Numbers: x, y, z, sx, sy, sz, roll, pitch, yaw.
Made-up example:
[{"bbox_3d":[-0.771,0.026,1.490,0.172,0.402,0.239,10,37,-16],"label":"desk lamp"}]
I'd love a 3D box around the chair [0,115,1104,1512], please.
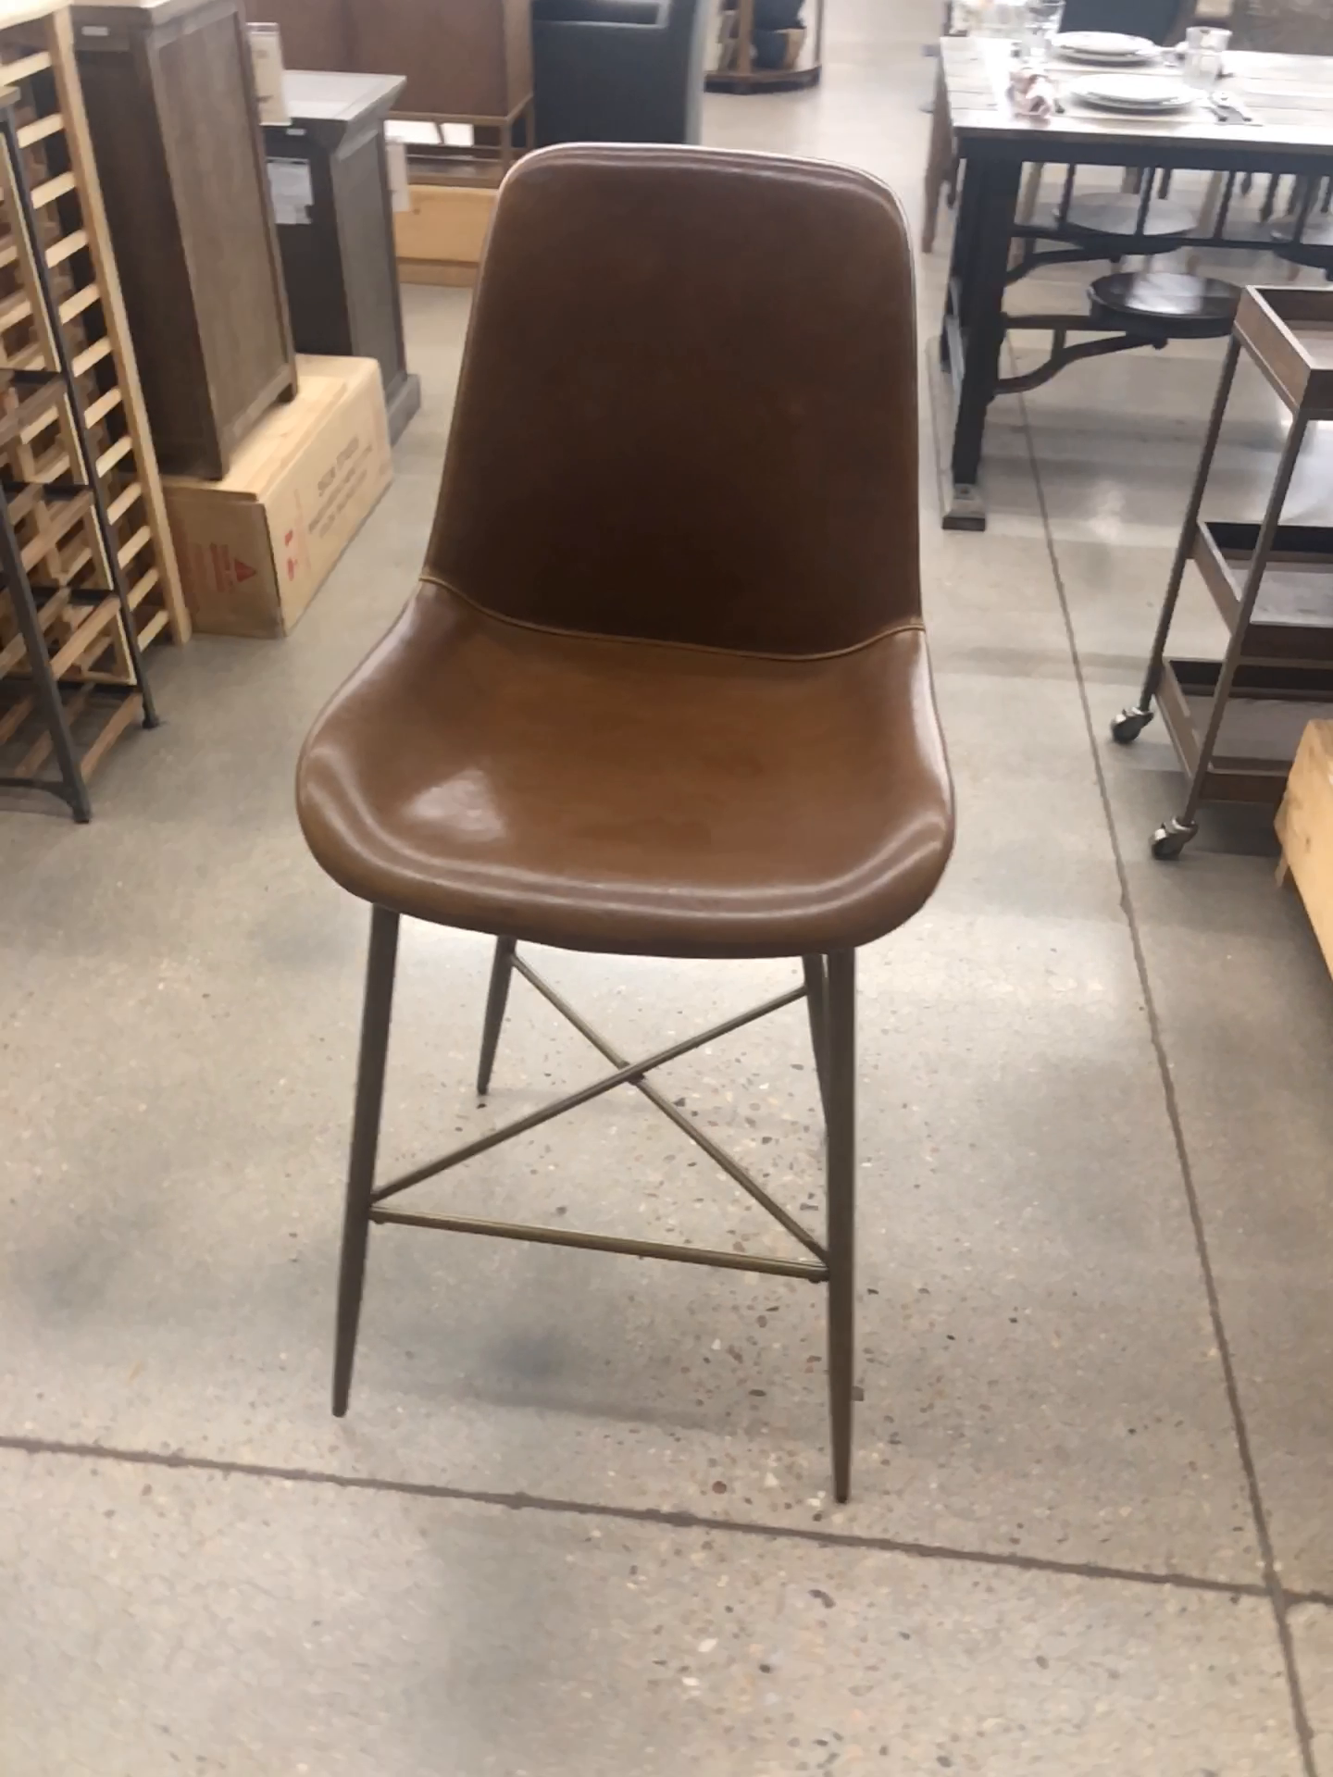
[{"bbox_3d":[-0.038,-0.042,1.336,0.602,1.055,0.613,7,39,6],"label":"chair"}]
